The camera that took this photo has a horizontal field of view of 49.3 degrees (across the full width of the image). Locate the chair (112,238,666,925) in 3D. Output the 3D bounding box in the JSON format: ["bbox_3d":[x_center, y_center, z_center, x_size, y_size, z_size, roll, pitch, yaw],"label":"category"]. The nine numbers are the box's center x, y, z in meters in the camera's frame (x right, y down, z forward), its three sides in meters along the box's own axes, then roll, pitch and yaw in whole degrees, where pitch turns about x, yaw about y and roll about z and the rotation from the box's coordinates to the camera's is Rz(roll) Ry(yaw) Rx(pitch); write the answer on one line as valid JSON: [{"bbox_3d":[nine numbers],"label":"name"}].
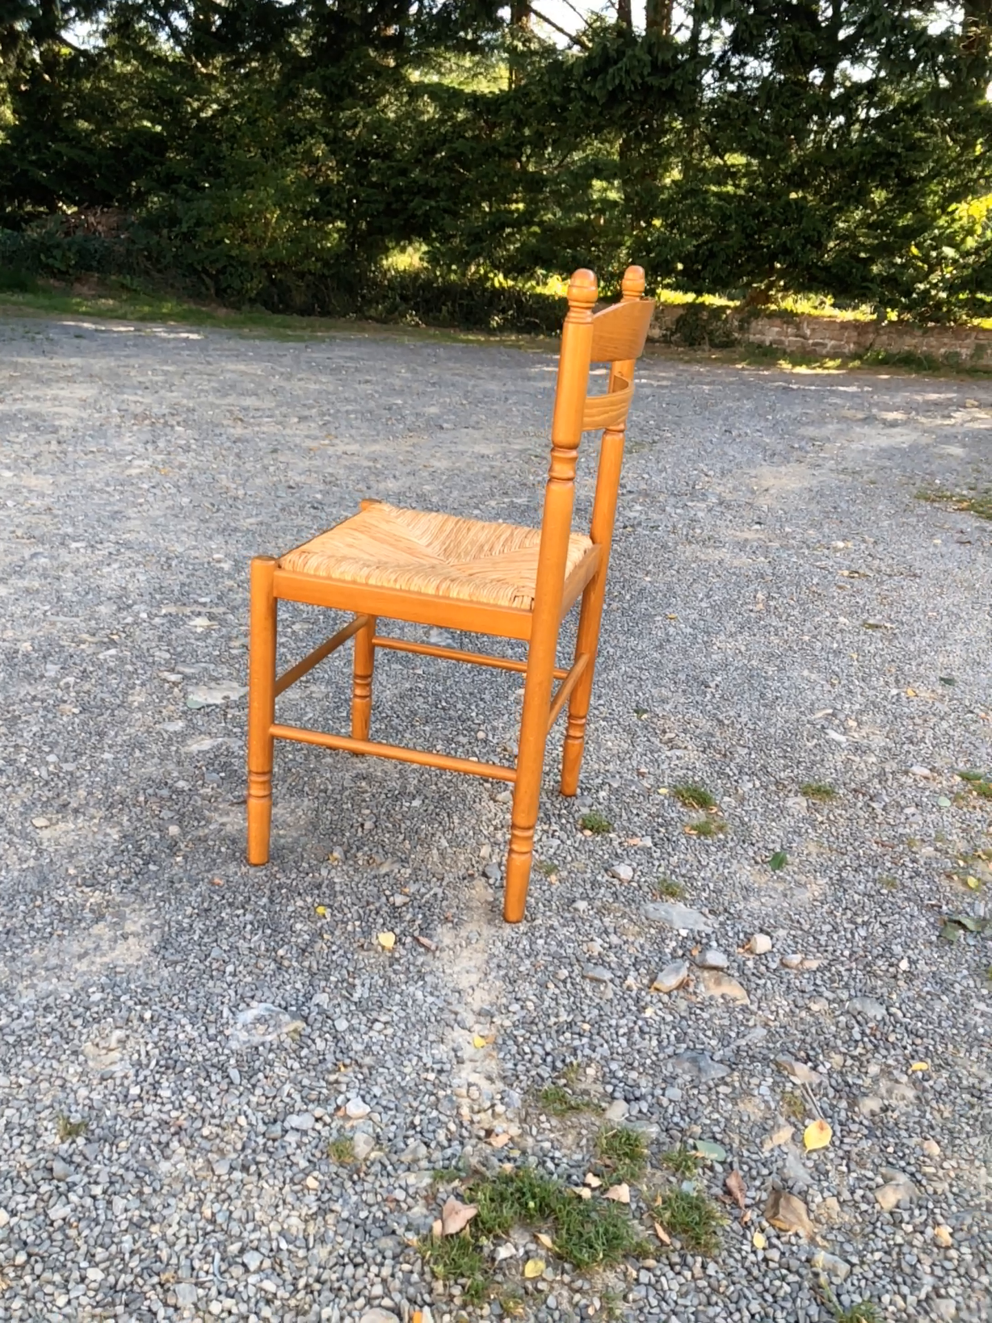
[{"bbox_3d":[-0.093,-0.153,1.434,0.520,0.736,0.513,7,23,13],"label":"chair"}]
